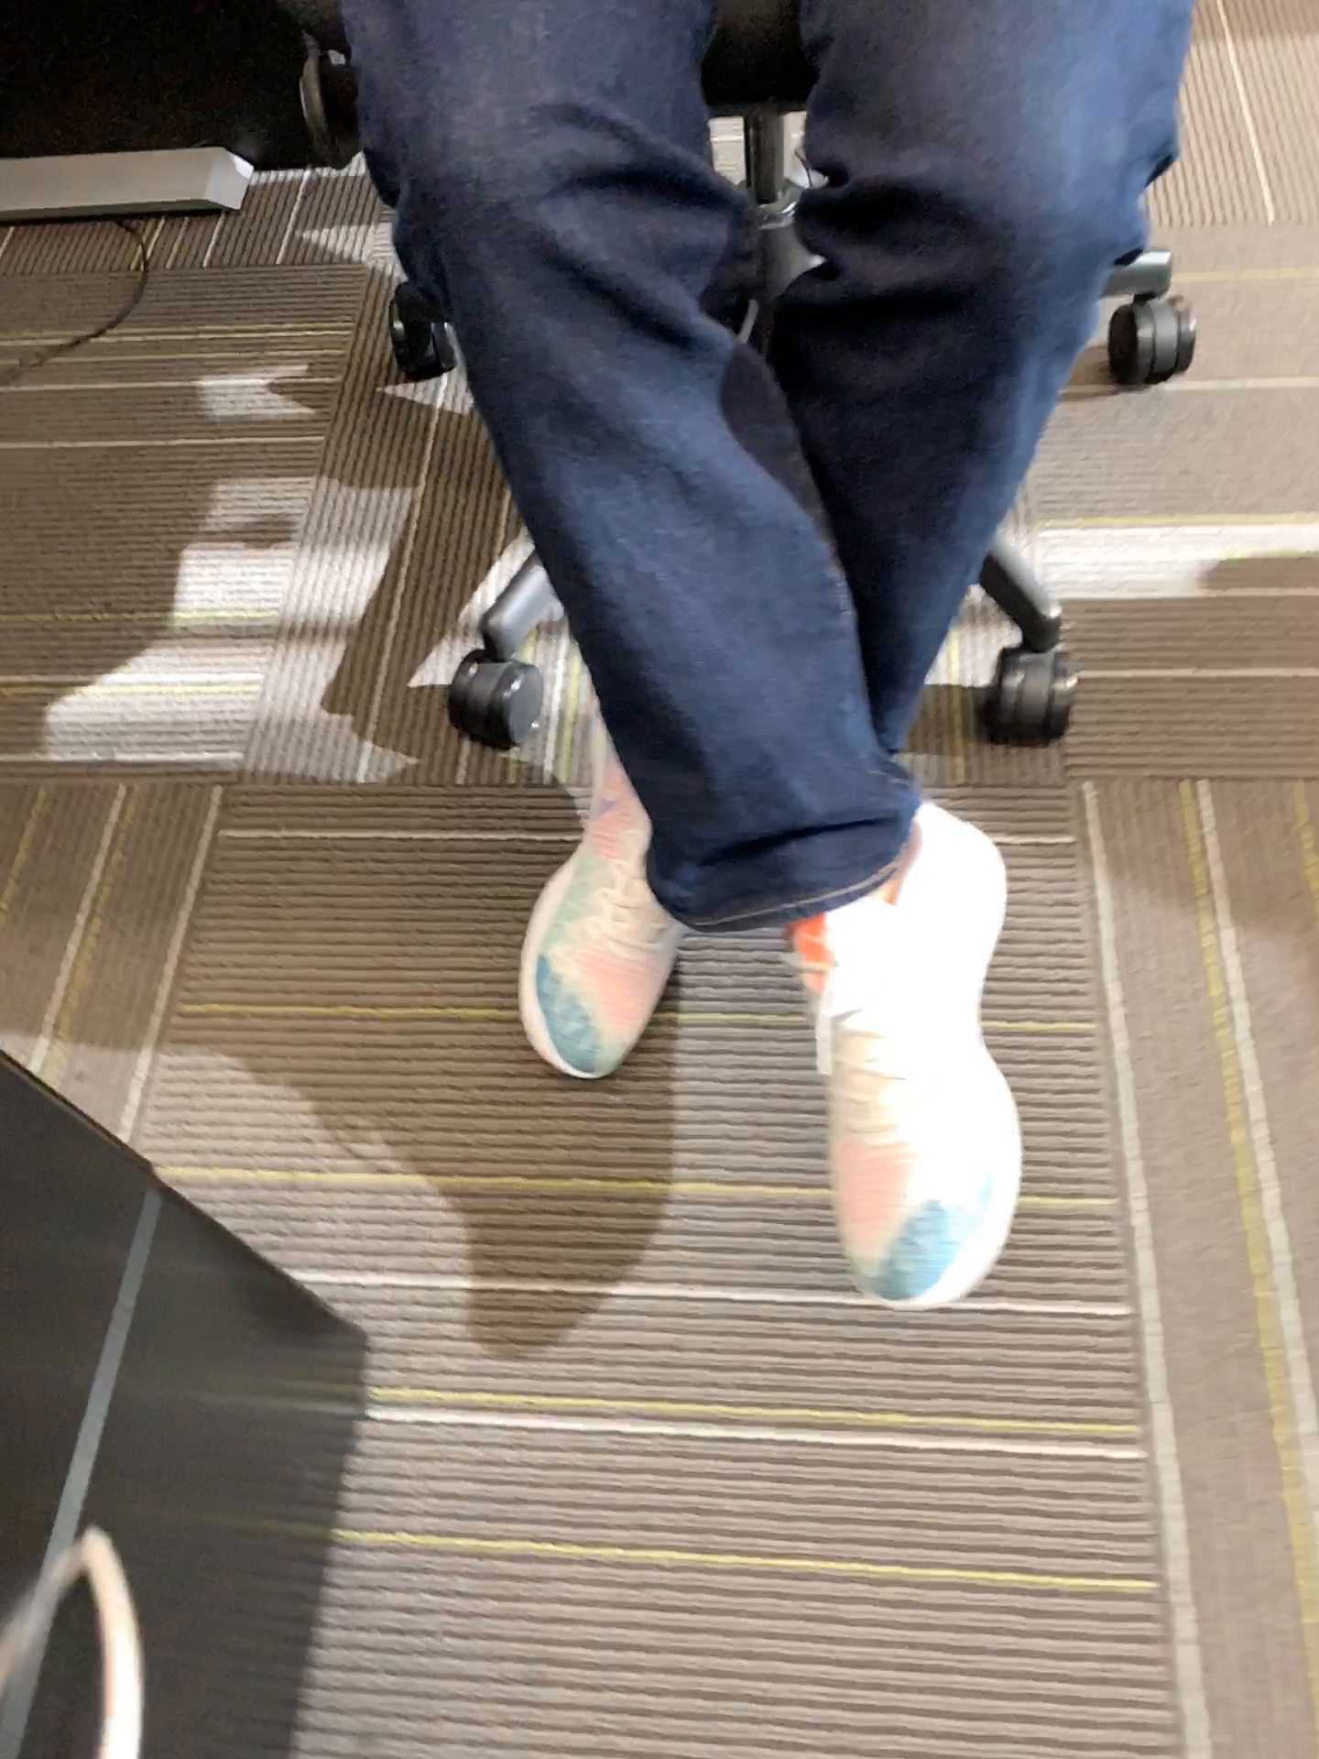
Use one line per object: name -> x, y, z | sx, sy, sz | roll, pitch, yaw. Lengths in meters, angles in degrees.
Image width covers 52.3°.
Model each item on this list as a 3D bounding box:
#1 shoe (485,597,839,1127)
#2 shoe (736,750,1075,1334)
shoe -> 0.006, -0.012, 0.827 | 0.115, 0.109, 0.287 | 24, 61, -13
shoe -> 0.132, 0.087, 0.697 | 0.113, 0.108, 0.266 | 21, 64, -27
